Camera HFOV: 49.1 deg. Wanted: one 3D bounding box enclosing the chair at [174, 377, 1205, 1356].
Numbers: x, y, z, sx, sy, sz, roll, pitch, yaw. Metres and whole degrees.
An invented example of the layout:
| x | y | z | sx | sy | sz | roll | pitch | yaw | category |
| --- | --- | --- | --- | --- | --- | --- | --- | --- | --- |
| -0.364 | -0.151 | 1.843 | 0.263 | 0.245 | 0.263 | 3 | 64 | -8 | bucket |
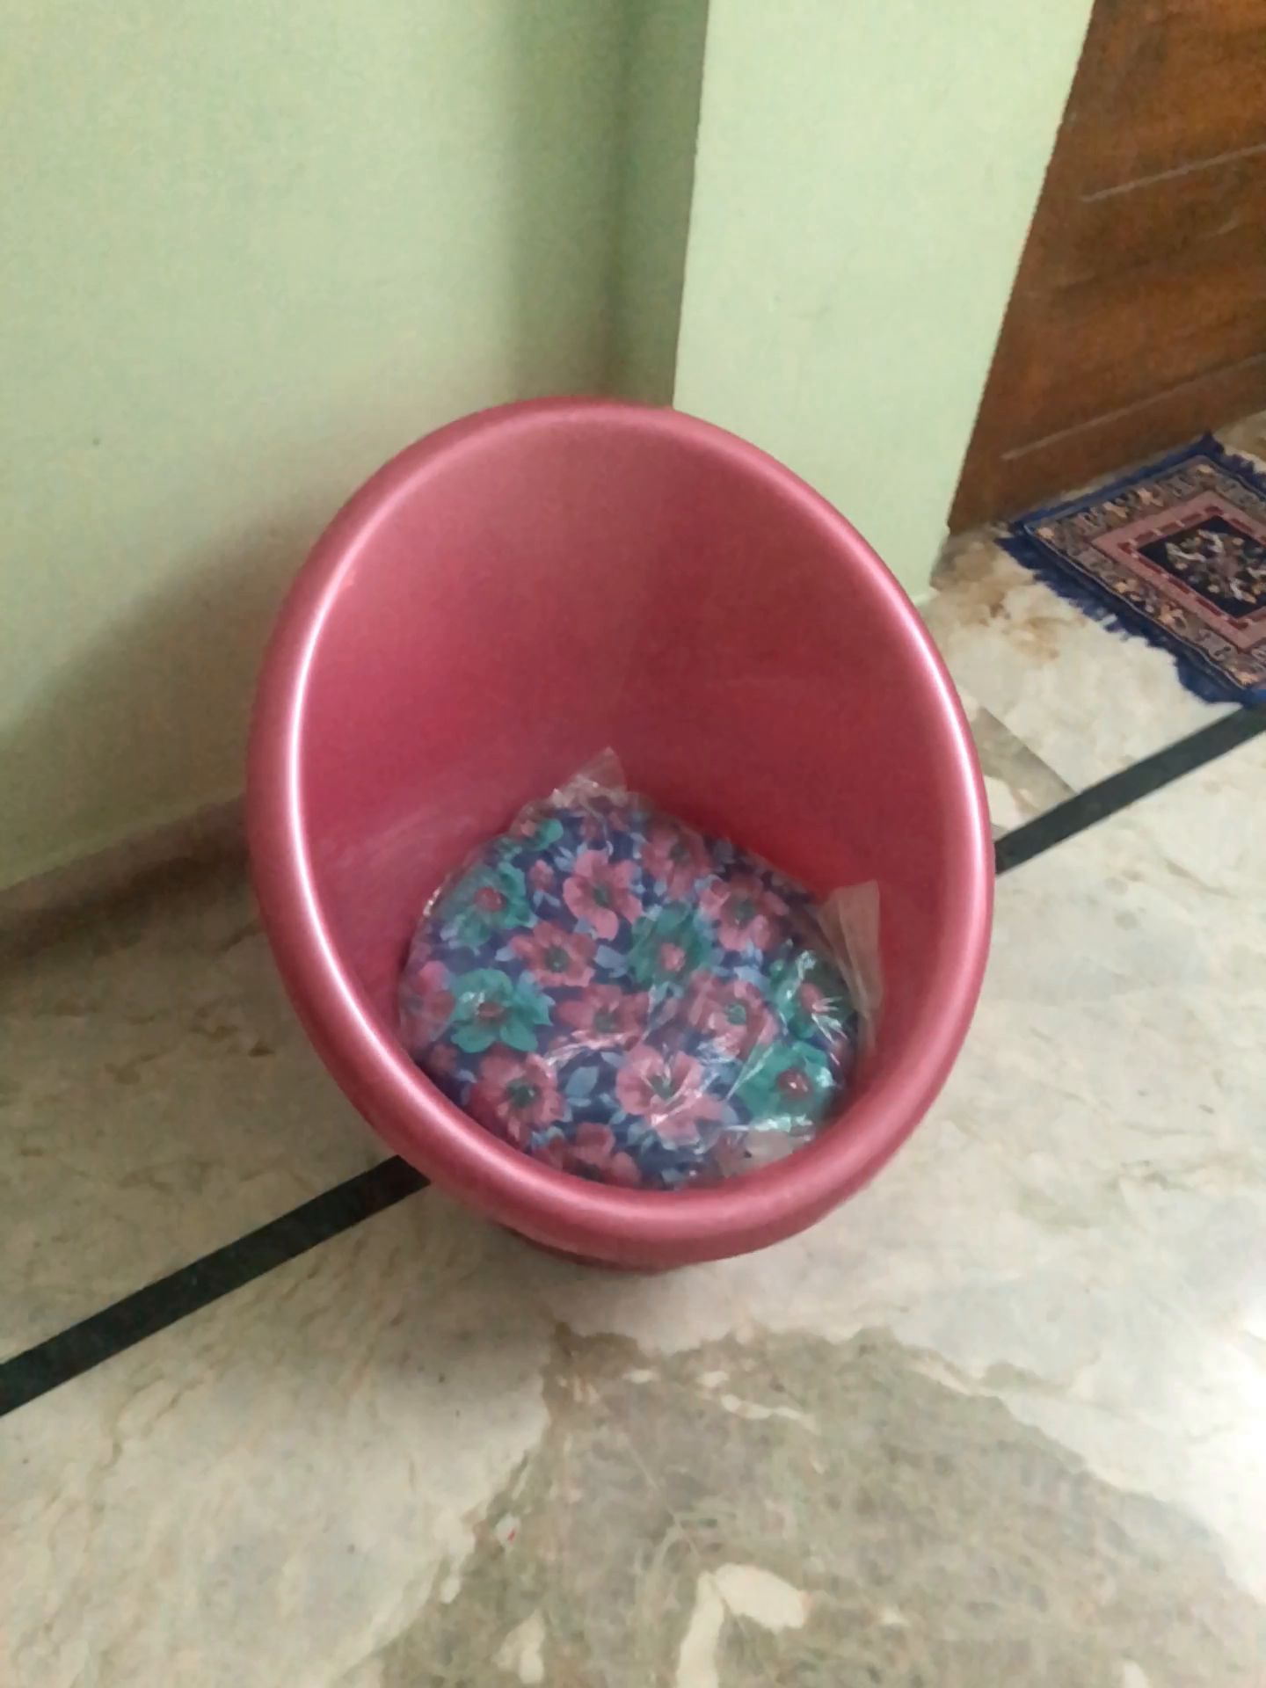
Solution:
| x | y | z | sx | sy | sz | roll | pitch | yaw | category |
| --- | --- | --- | --- | --- | --- | --- | --- | --- | --- |
| -0.007 | 0.003 | 1.268 | 0.640 | 0.547 | 0.664 | -3 | 49 | -7 | chair |
